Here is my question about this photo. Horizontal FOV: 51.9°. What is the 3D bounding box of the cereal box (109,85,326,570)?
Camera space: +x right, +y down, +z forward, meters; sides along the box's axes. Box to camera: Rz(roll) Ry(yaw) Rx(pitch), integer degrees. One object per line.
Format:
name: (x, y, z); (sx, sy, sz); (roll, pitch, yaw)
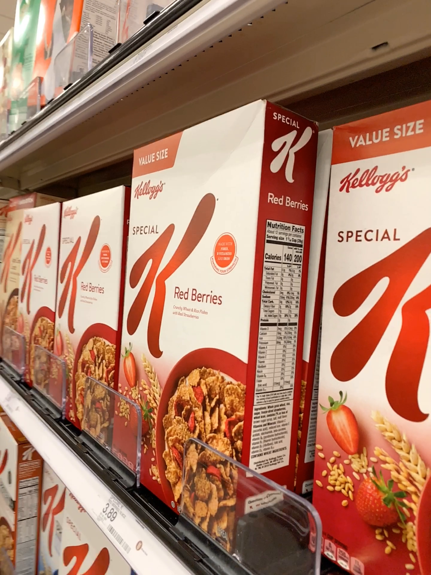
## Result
cereal box: (-0.014, 0.022, 0.388); (0.060, 0.320, 0.200); (2, 3, -38)

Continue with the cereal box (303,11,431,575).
cereal box: (0.163, 0.051, 0.273); (0.060, 0.330, 0.200); (2, 3, -39)

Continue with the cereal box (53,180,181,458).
cereal box: (-0.133, 0.028, 0.557); (0.060, 0.290, 0.200); (2, 3, -39)
